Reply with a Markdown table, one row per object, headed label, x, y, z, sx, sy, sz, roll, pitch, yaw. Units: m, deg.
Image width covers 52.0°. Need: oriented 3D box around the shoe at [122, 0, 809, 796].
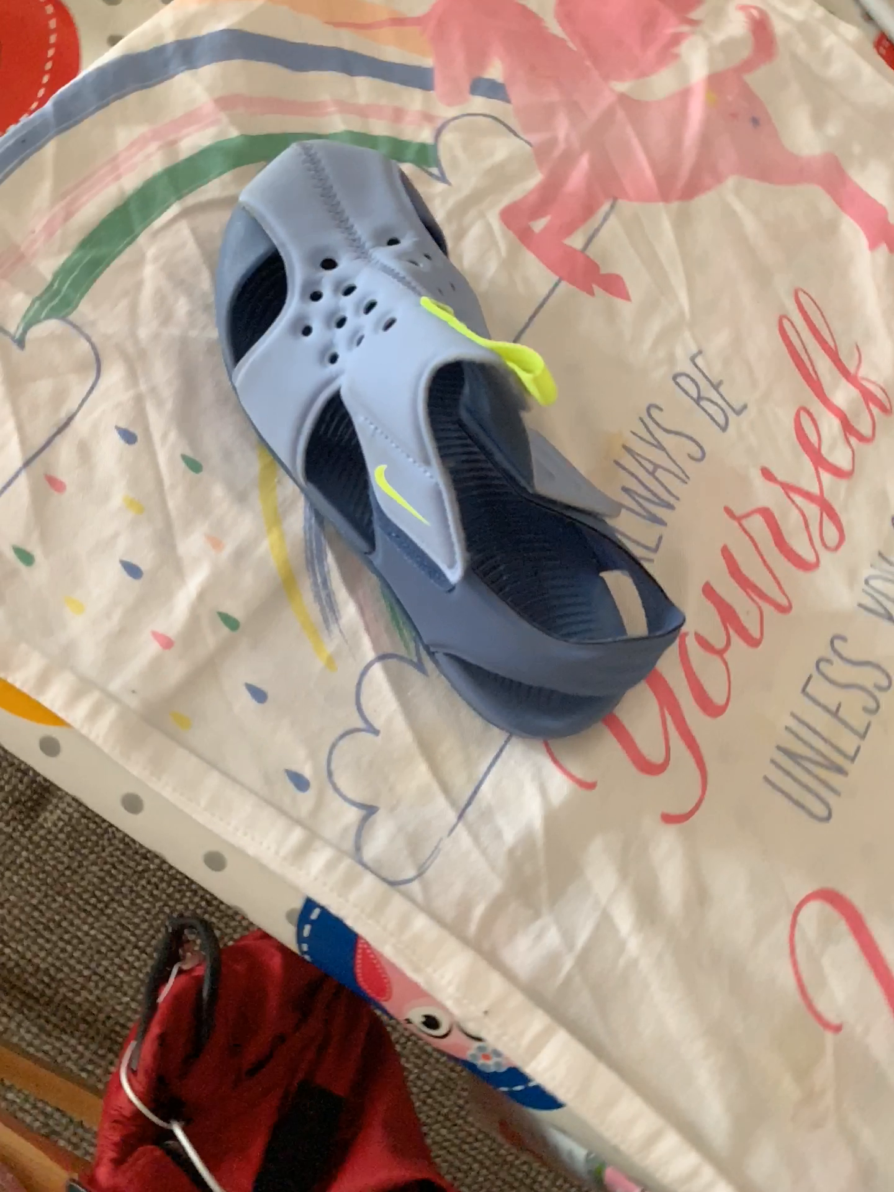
| label | x | y | z | sx | sy | sz | roll | pitch | yaw |
| --- | --- | --- | --- | --- | --- | --- | --- | --- | --- |
| shoe | -0.005 | -0.058 | 0.282 | 0.086 | 0.090 | 0.216 | -28 | 82 | -18 |
